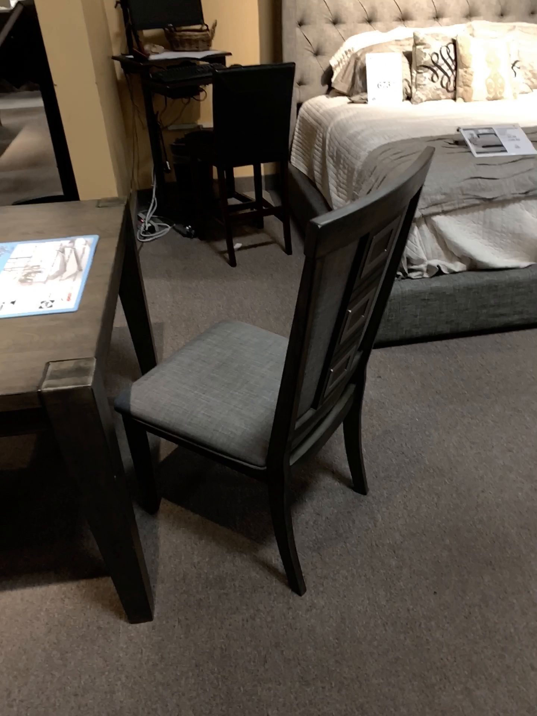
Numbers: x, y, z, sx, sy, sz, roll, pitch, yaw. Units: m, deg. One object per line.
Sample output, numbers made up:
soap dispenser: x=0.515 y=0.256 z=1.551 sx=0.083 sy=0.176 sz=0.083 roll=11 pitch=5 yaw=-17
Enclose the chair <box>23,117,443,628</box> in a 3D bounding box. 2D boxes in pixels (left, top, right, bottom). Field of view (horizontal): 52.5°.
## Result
chair: x=-0.041 y=0.016 z=1.343 sx=0.643 sy=0.997 sz=0.516 roll=18 pitch=39 yaw=27
